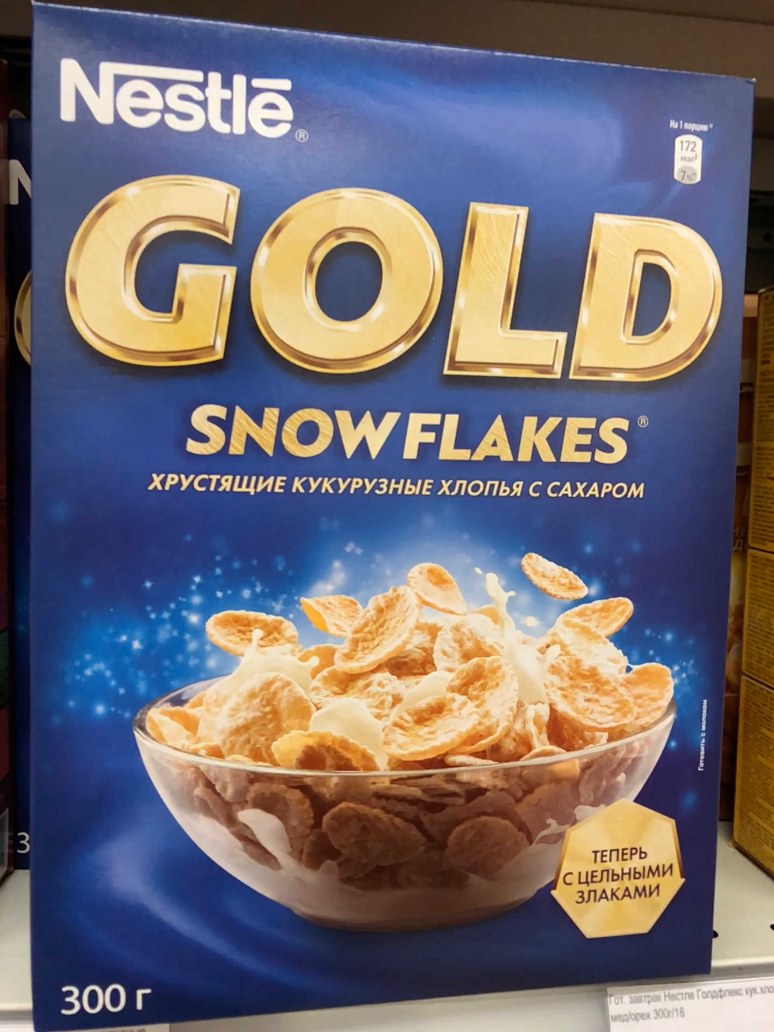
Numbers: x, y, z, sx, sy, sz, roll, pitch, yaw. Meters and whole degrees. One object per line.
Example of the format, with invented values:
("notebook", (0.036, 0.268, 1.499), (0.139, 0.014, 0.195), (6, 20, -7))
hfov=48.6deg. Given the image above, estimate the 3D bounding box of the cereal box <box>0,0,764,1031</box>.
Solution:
("cereal box", (-0.002, 0.005, 0.252), (0.200, 0.270, 0.050), (0, 4, -10))
